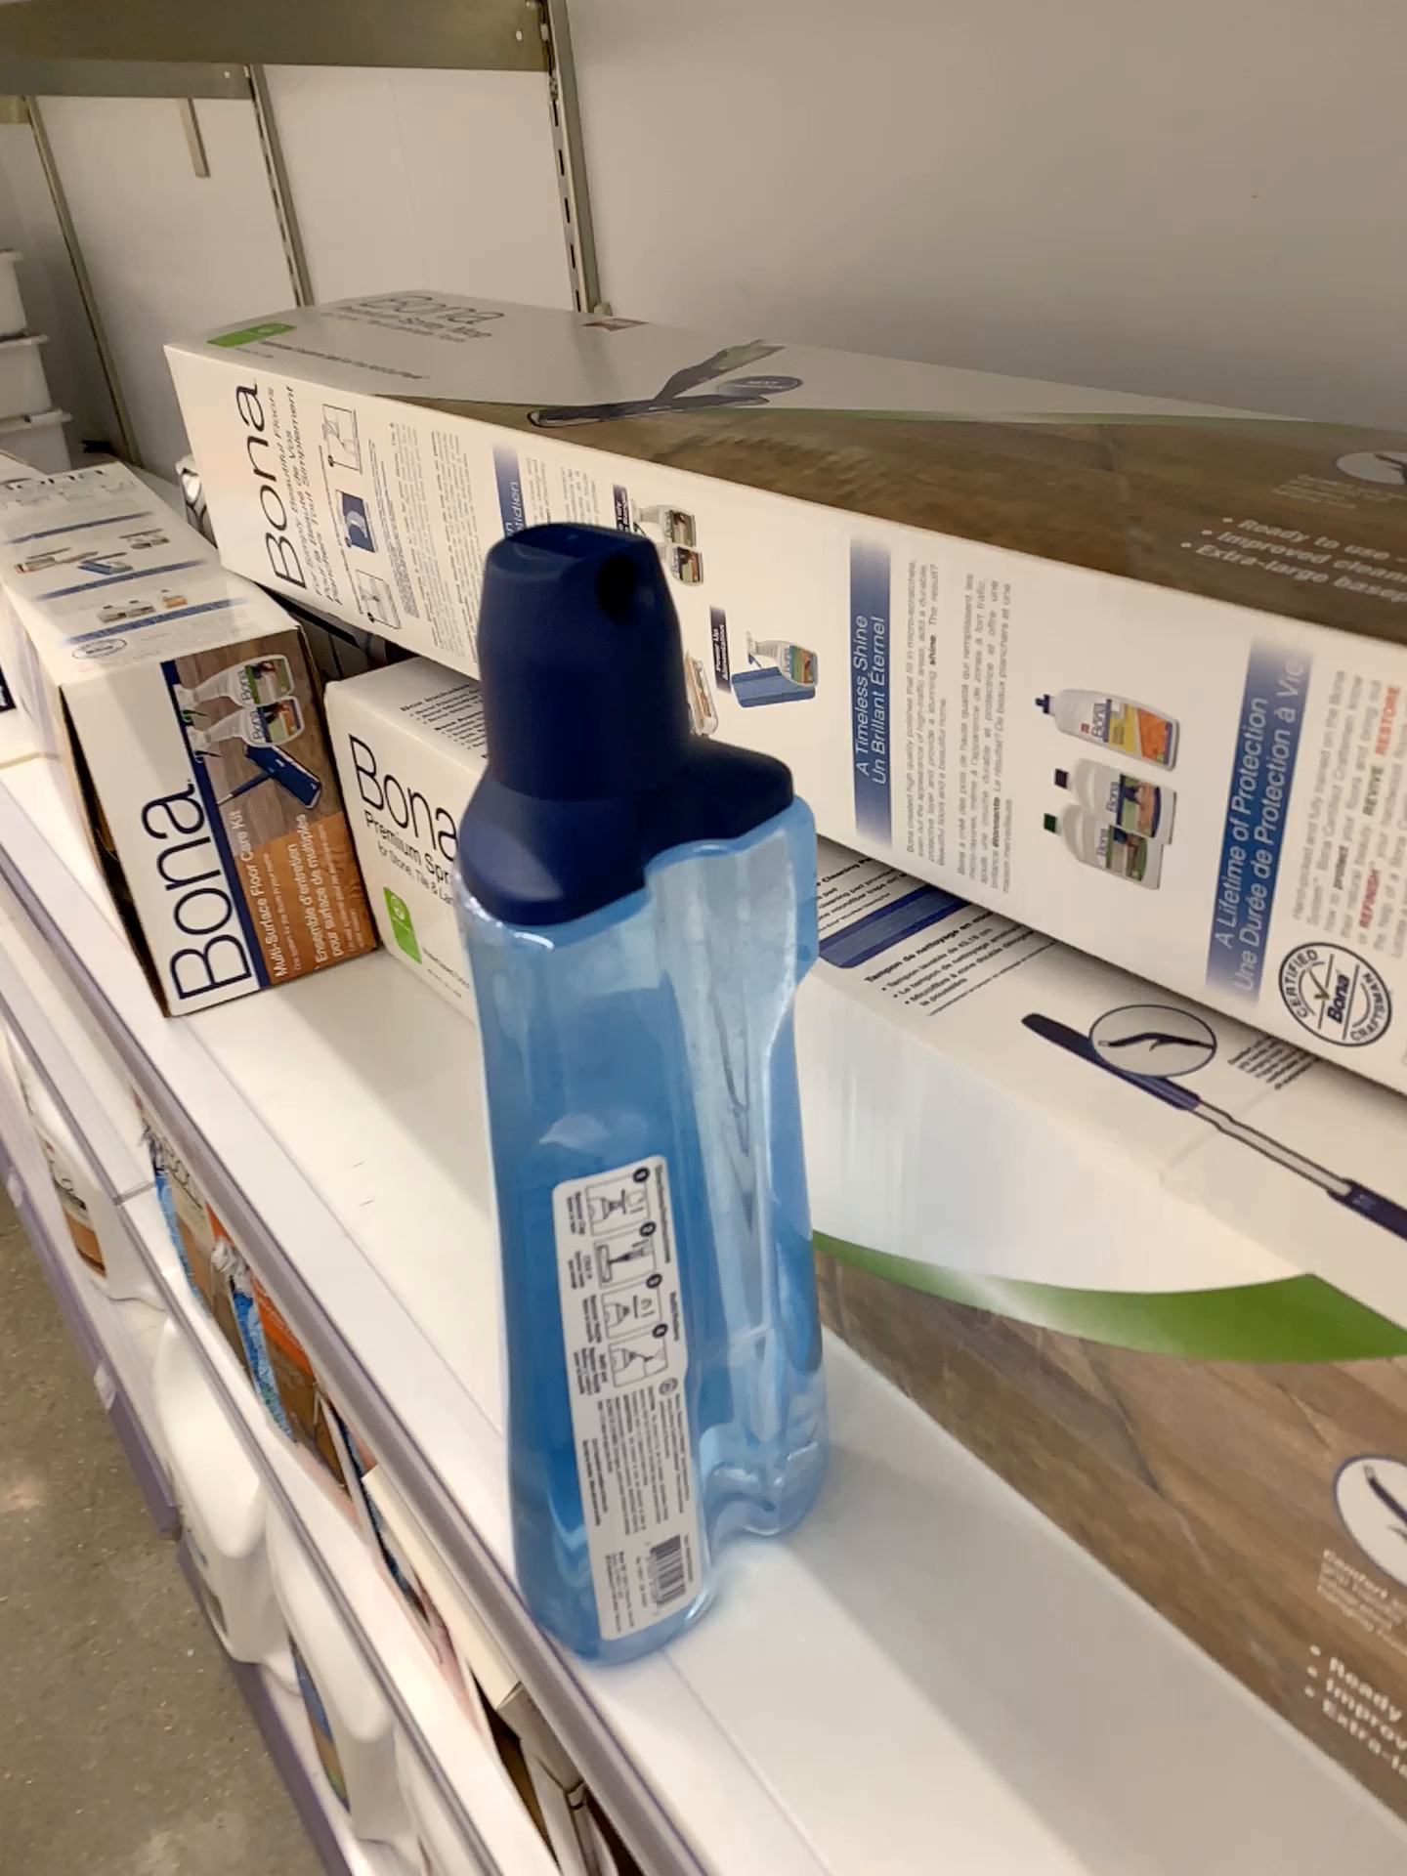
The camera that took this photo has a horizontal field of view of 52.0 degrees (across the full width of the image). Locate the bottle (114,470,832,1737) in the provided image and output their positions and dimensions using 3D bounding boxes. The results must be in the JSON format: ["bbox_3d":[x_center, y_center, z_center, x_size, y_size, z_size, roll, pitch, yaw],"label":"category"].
[{"bbox_3d":[-0.035,0.046,0.344,0.080,0.279,0.100,20,39,36],"label":"bottle"}]
